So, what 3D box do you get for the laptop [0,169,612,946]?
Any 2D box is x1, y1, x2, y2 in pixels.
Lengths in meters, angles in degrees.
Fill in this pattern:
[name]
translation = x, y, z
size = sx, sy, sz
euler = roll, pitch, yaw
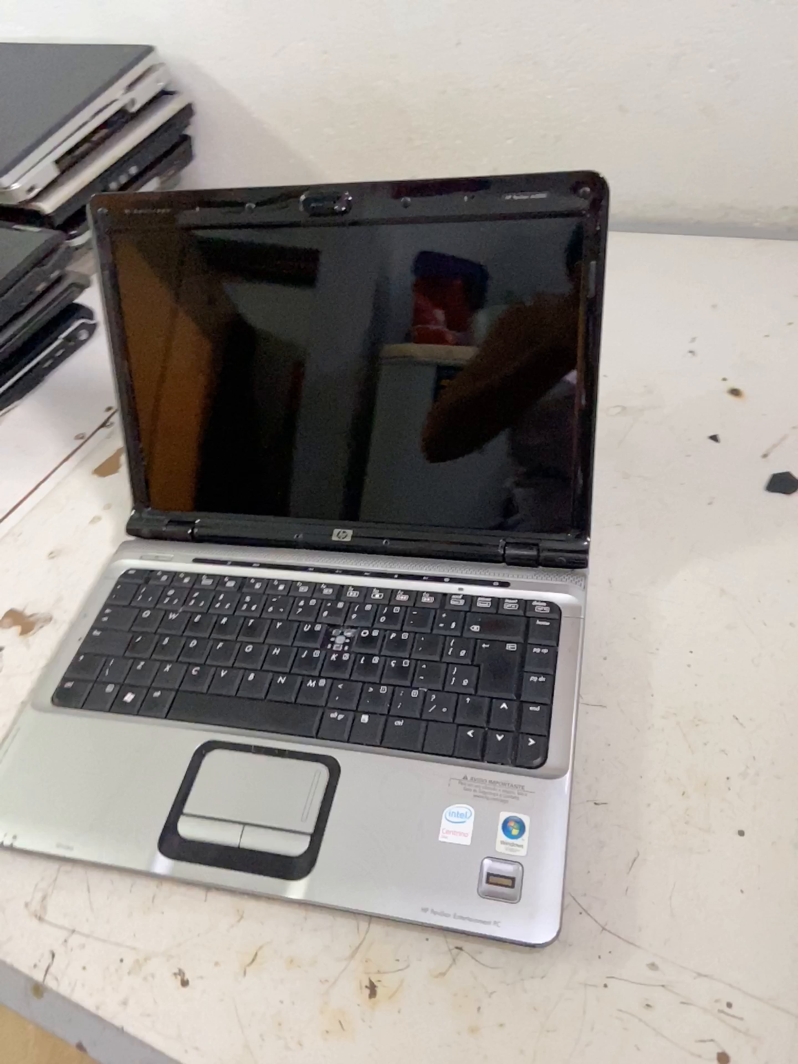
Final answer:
[laptop]
translation = -0.062, -0.016, 0.447
size = 0.321, 0.193, 0.335
euler = 4, 49, 15
